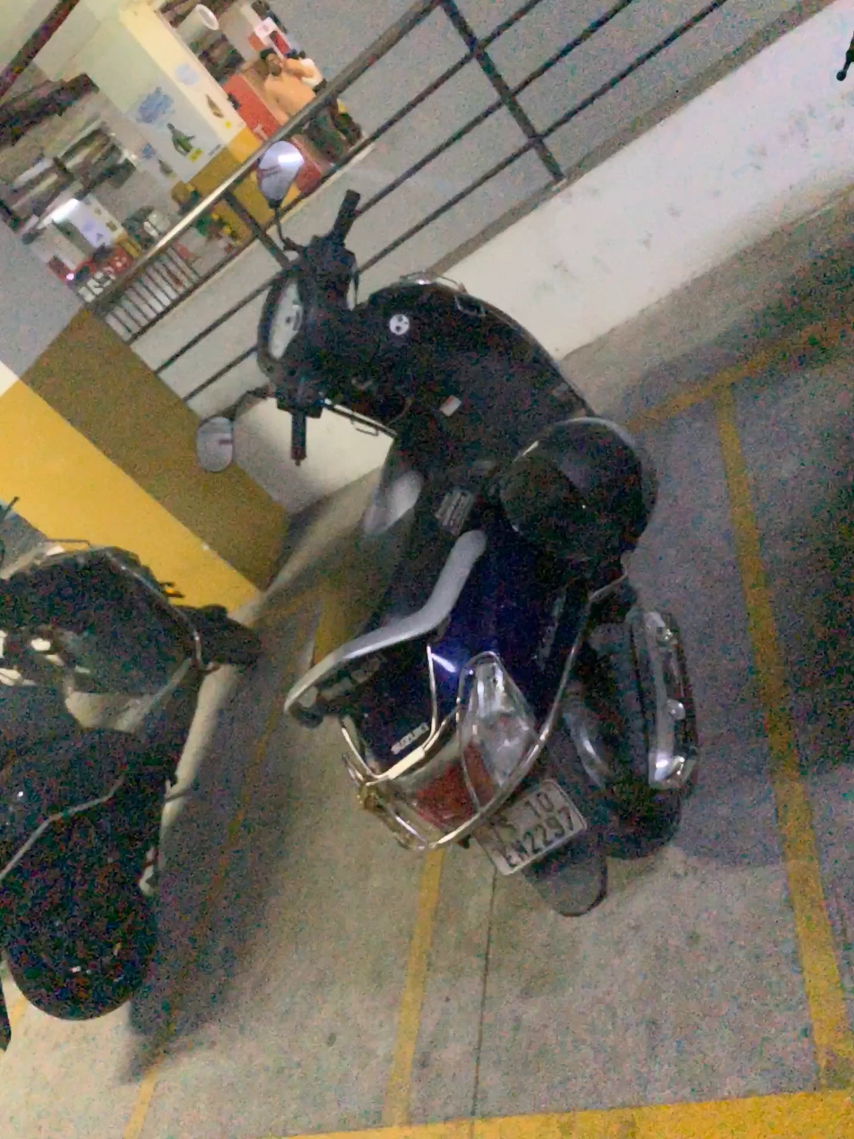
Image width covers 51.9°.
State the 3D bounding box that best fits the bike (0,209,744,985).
[{"bbox_3d":[-0.006,-0.048,2.074,0.623,1.156,1.480,-33,26,20],"label":"bike"}]
